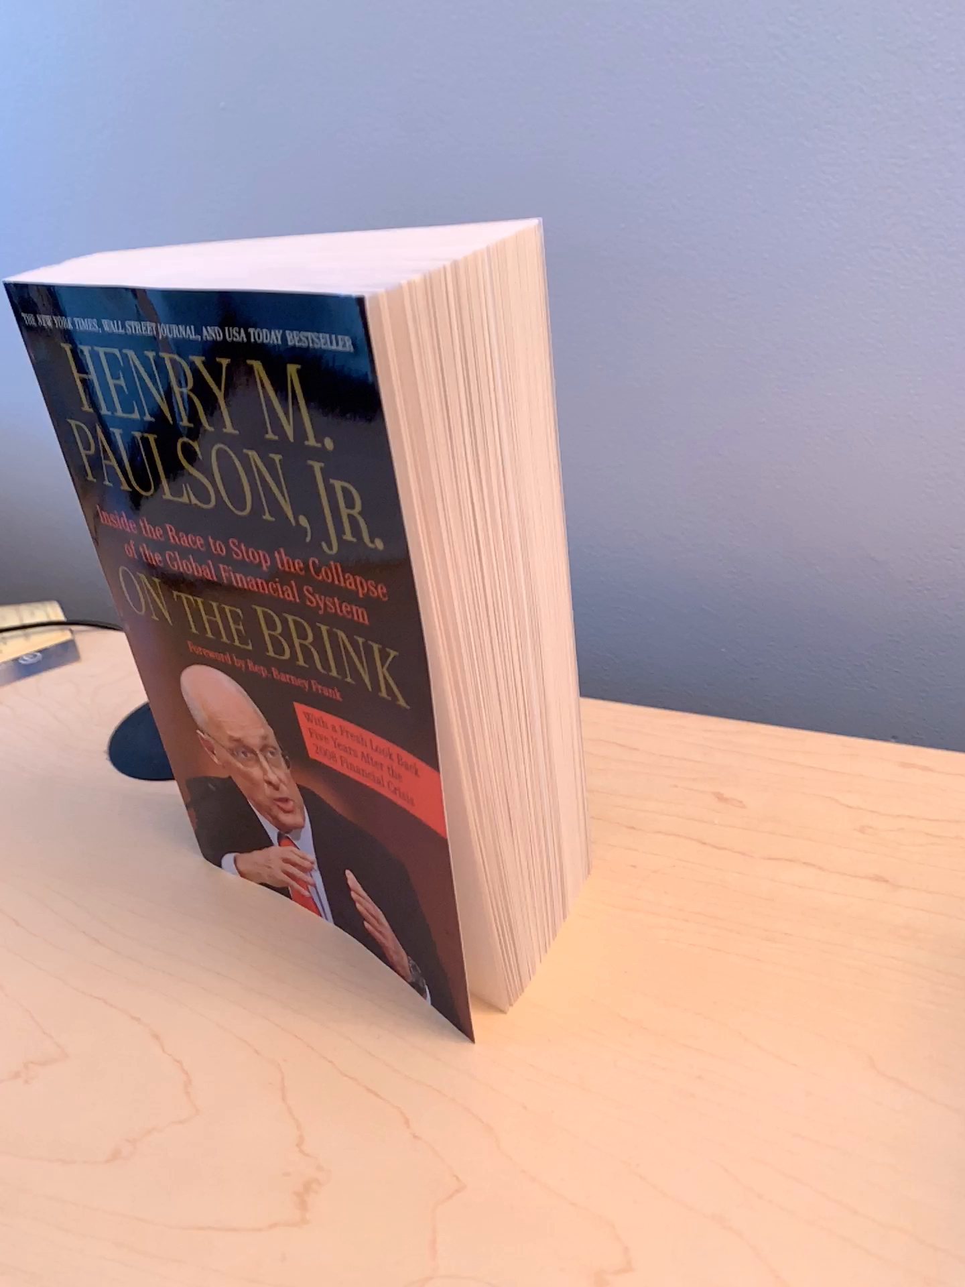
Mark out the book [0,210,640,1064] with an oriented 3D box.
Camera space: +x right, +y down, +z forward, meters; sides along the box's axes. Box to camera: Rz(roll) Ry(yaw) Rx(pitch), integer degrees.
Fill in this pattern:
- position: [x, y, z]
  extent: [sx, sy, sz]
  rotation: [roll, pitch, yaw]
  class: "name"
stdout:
- position: [-0.049, -0.004, 0.318]
  extent: [0.168, 0.228, 0.082]
  rotation: [10, 33, 29]
  class: "book"
